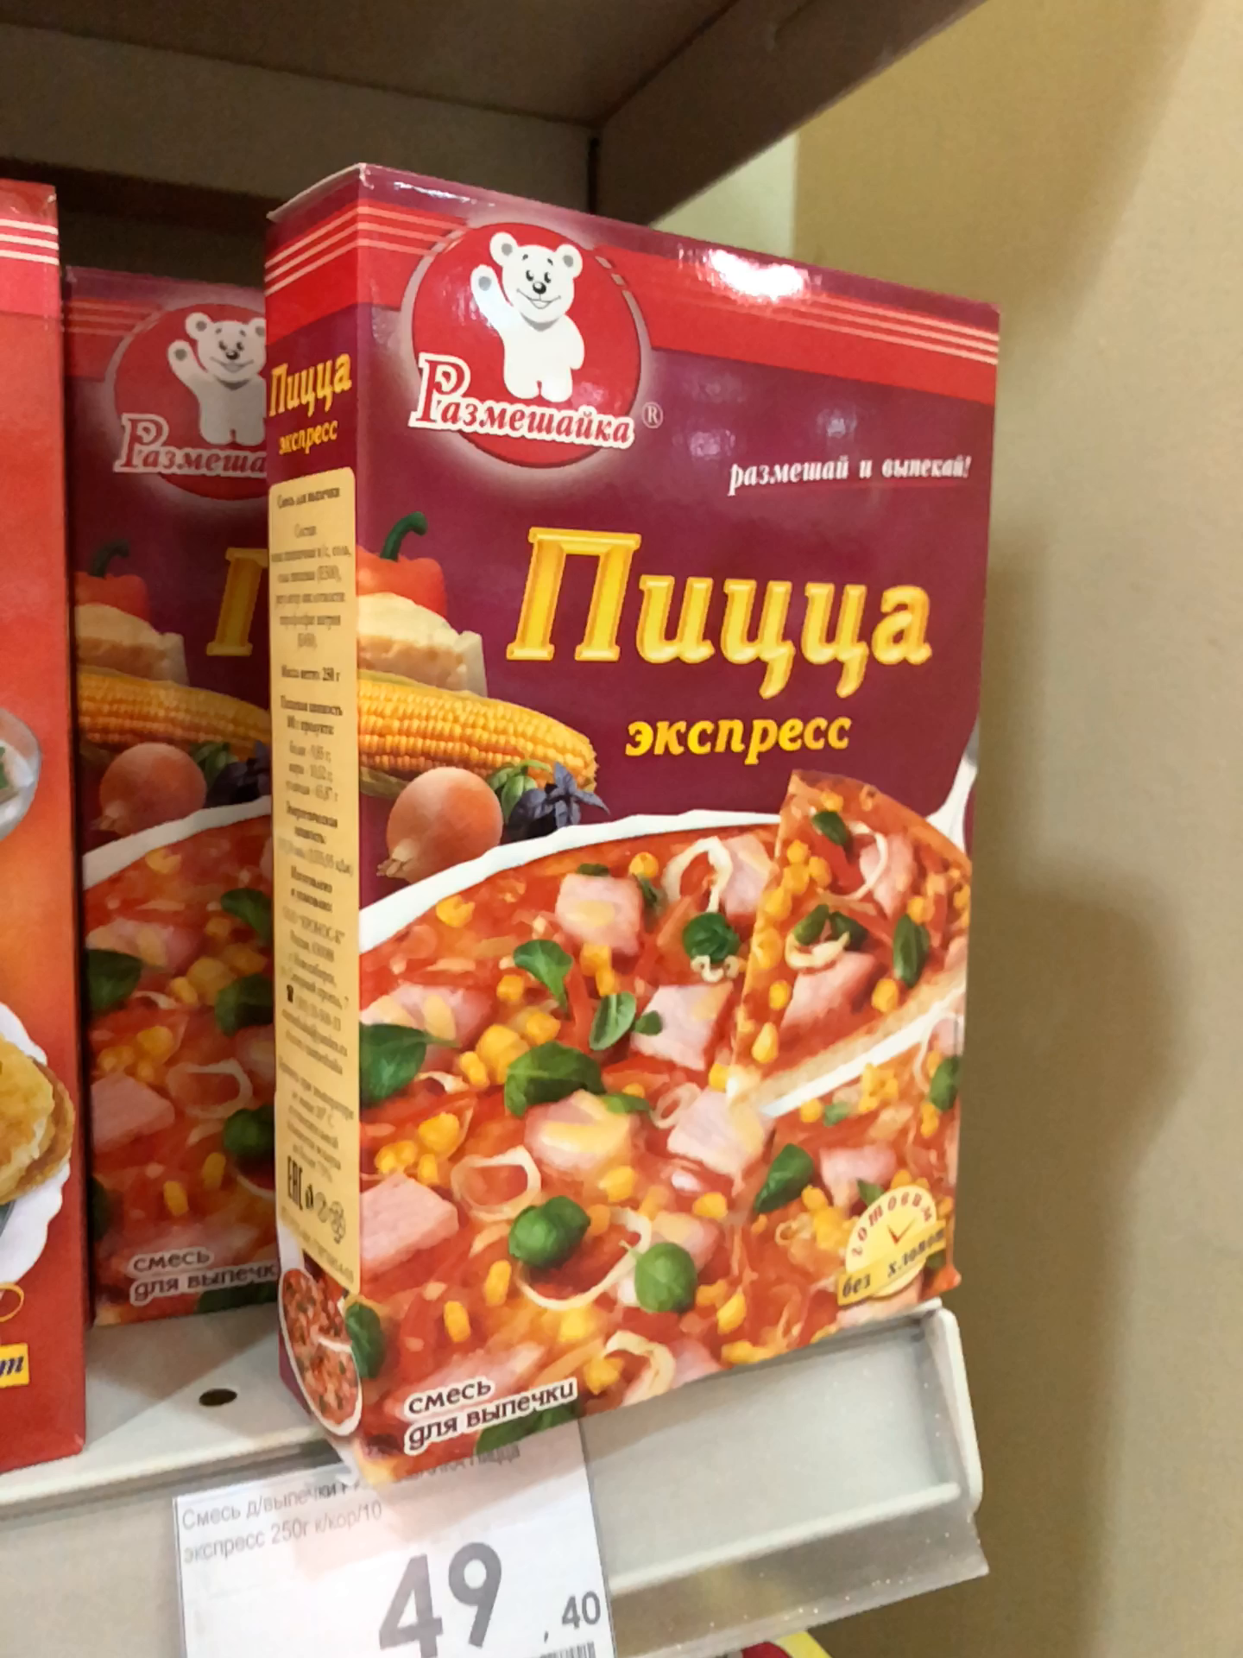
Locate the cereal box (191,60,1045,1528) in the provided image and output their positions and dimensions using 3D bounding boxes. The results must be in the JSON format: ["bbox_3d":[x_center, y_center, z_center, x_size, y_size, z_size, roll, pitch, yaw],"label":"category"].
[{"bbox_3d":[0.005,-0.005,0.234,0.140,0.190,0.040,-3,6,-34],"label":"cereal box"}]
